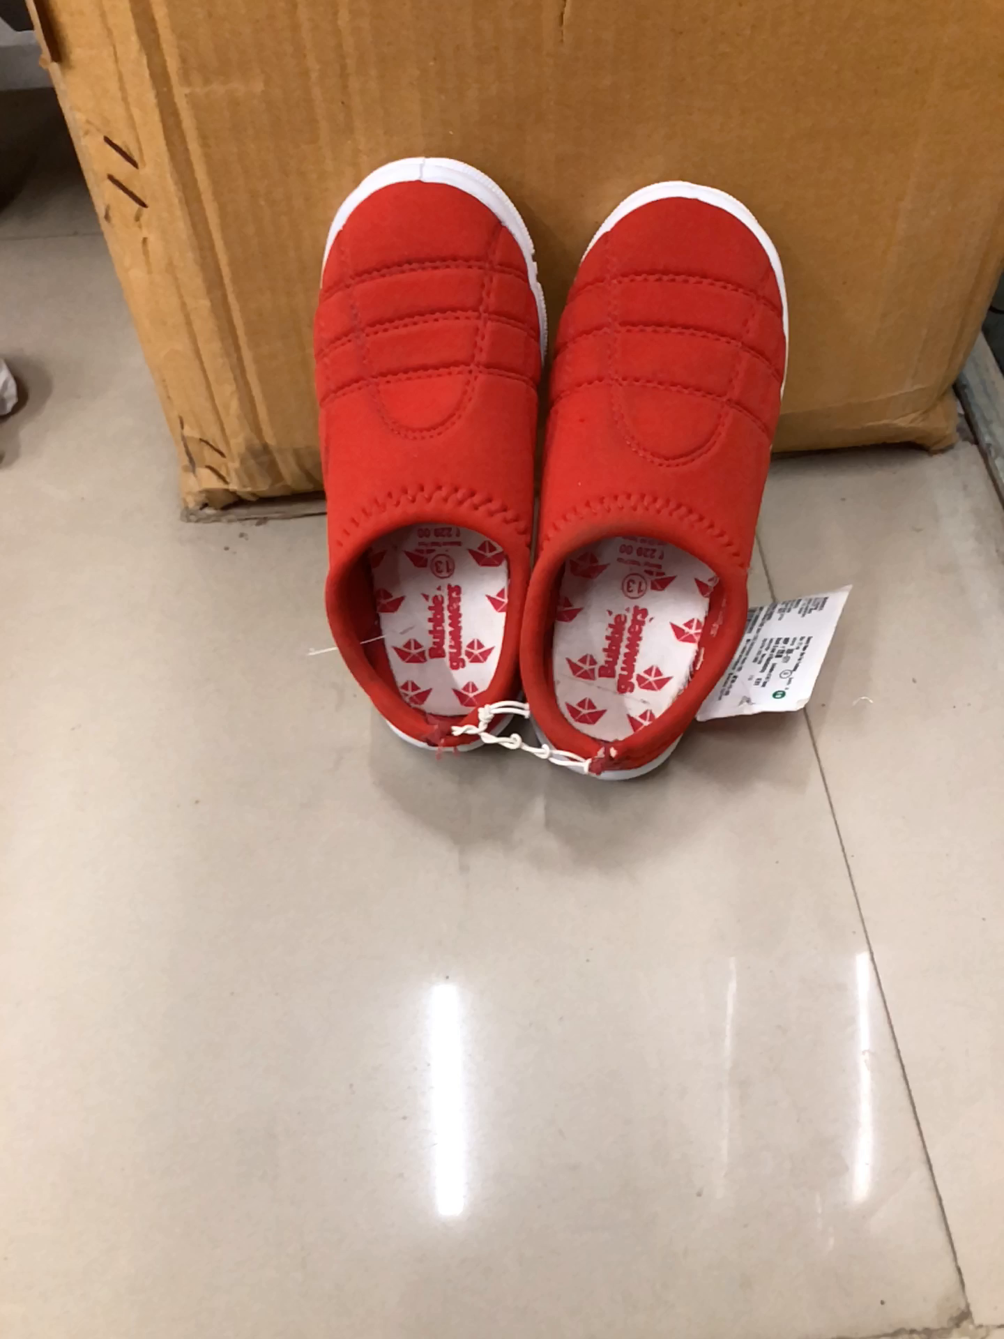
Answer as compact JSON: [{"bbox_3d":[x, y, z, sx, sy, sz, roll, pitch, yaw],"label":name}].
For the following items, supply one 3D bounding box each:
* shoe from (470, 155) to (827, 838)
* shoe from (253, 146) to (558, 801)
[{"bbox_3d":[0.052,-0.059,0.396,0.084,0.208,0.081,10,14,12],"label":"shoe"},{"bbox_3d":[-0.026,-0.066,0.395,0.084,0.204,0.082,-2,16,3],"label":"shoe"}]
